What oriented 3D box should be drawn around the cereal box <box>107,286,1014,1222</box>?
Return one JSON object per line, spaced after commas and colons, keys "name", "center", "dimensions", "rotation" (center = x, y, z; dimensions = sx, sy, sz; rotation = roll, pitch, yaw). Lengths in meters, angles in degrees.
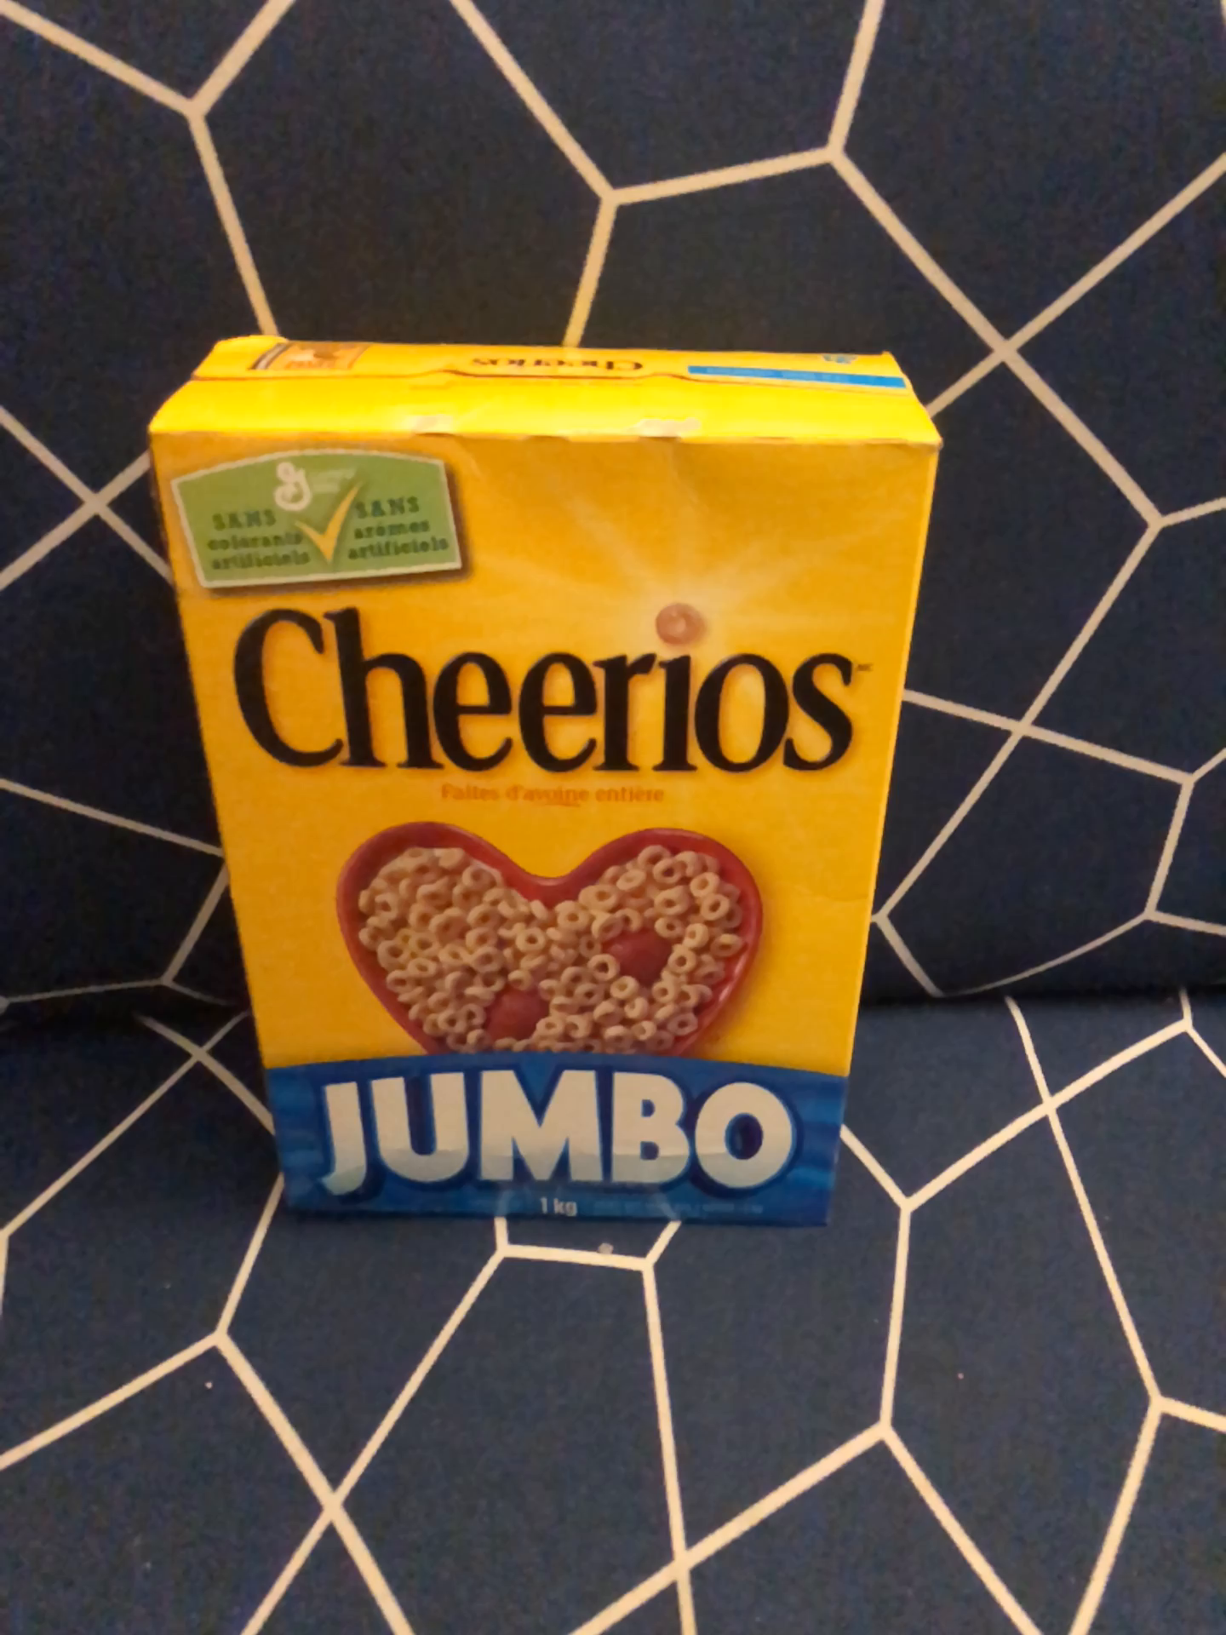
{"name": "cereal box", "center": [-0.015, -0.004, 0.421], "dimensions": [0.210, 0.288, 0.080], "rotation": [1, 32, -1]}
